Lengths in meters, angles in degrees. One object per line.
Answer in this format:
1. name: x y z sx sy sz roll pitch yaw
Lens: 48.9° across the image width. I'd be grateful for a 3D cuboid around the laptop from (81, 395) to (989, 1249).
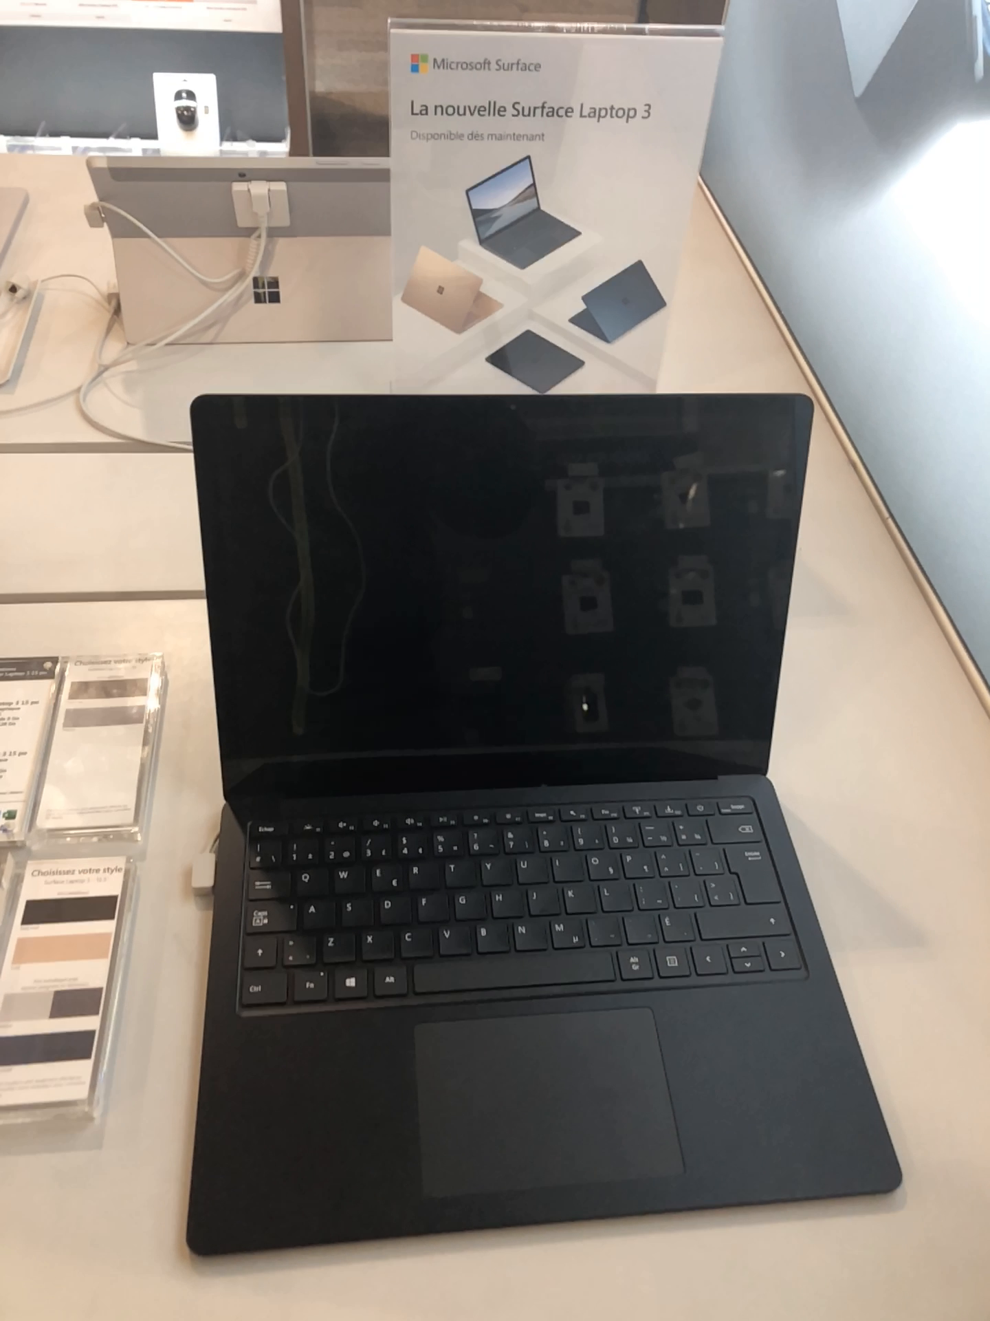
1. laptop: 0.017 0.051 0.499 0.308 0.197 0.314 -2 46 -7
